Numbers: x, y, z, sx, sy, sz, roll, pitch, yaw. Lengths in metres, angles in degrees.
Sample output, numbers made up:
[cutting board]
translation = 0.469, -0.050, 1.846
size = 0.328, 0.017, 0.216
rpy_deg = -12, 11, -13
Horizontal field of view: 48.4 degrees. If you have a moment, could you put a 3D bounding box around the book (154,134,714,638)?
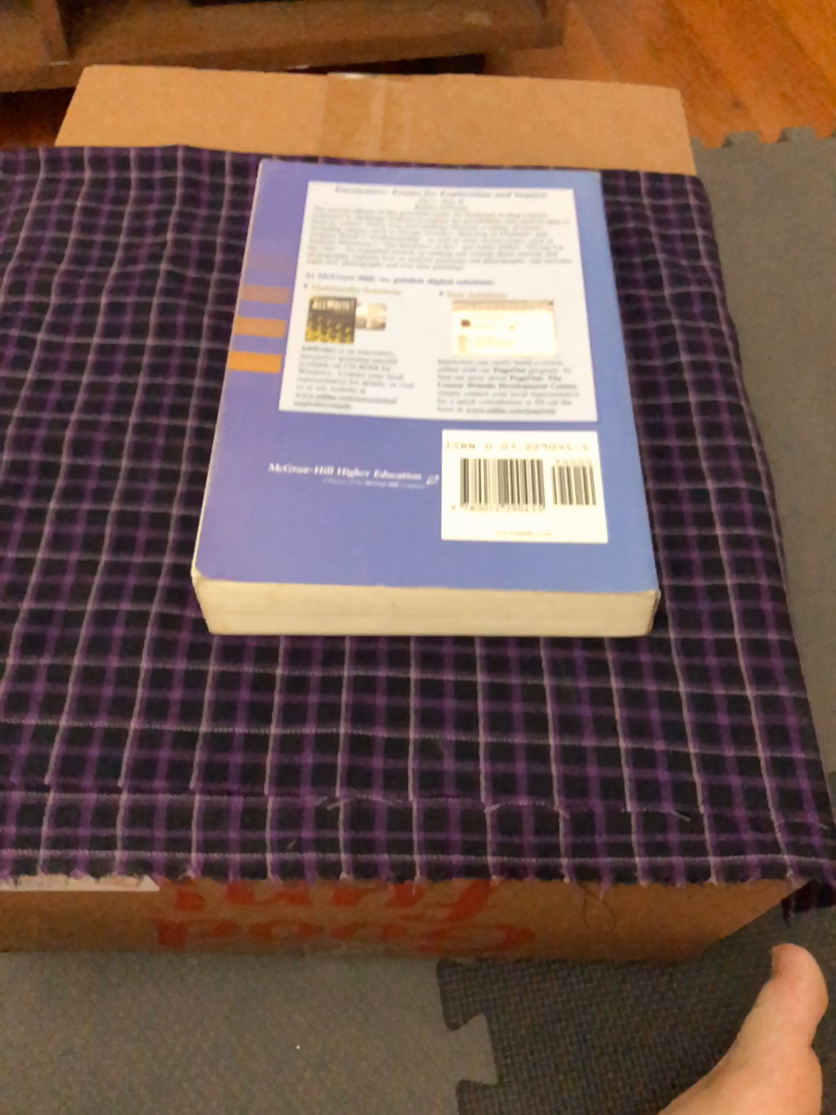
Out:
[book]
translation = 0.004, -0.083, 0.381
size = 0.180, 0.040, 0.241
rpy_deg = 0, 57, -1
